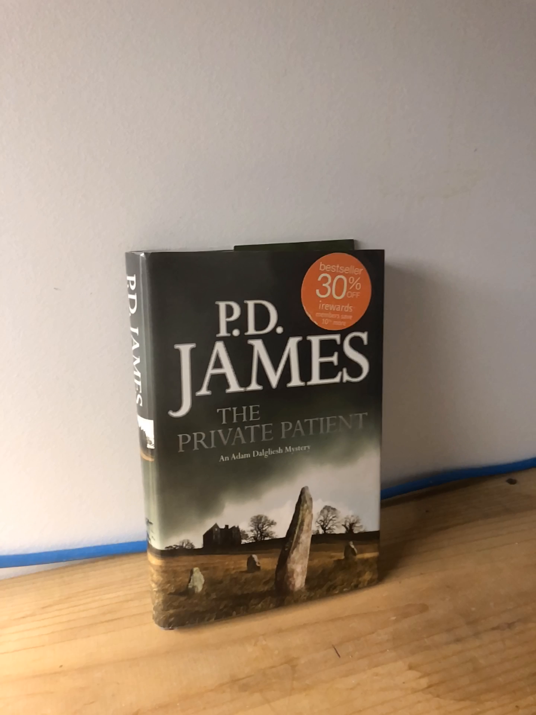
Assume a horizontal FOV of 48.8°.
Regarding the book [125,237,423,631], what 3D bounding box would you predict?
[{"bbox_3d":[0.008,0.043,0.382,0.180,0.229,0.040,-4,9,-14],"label":"book"}]
